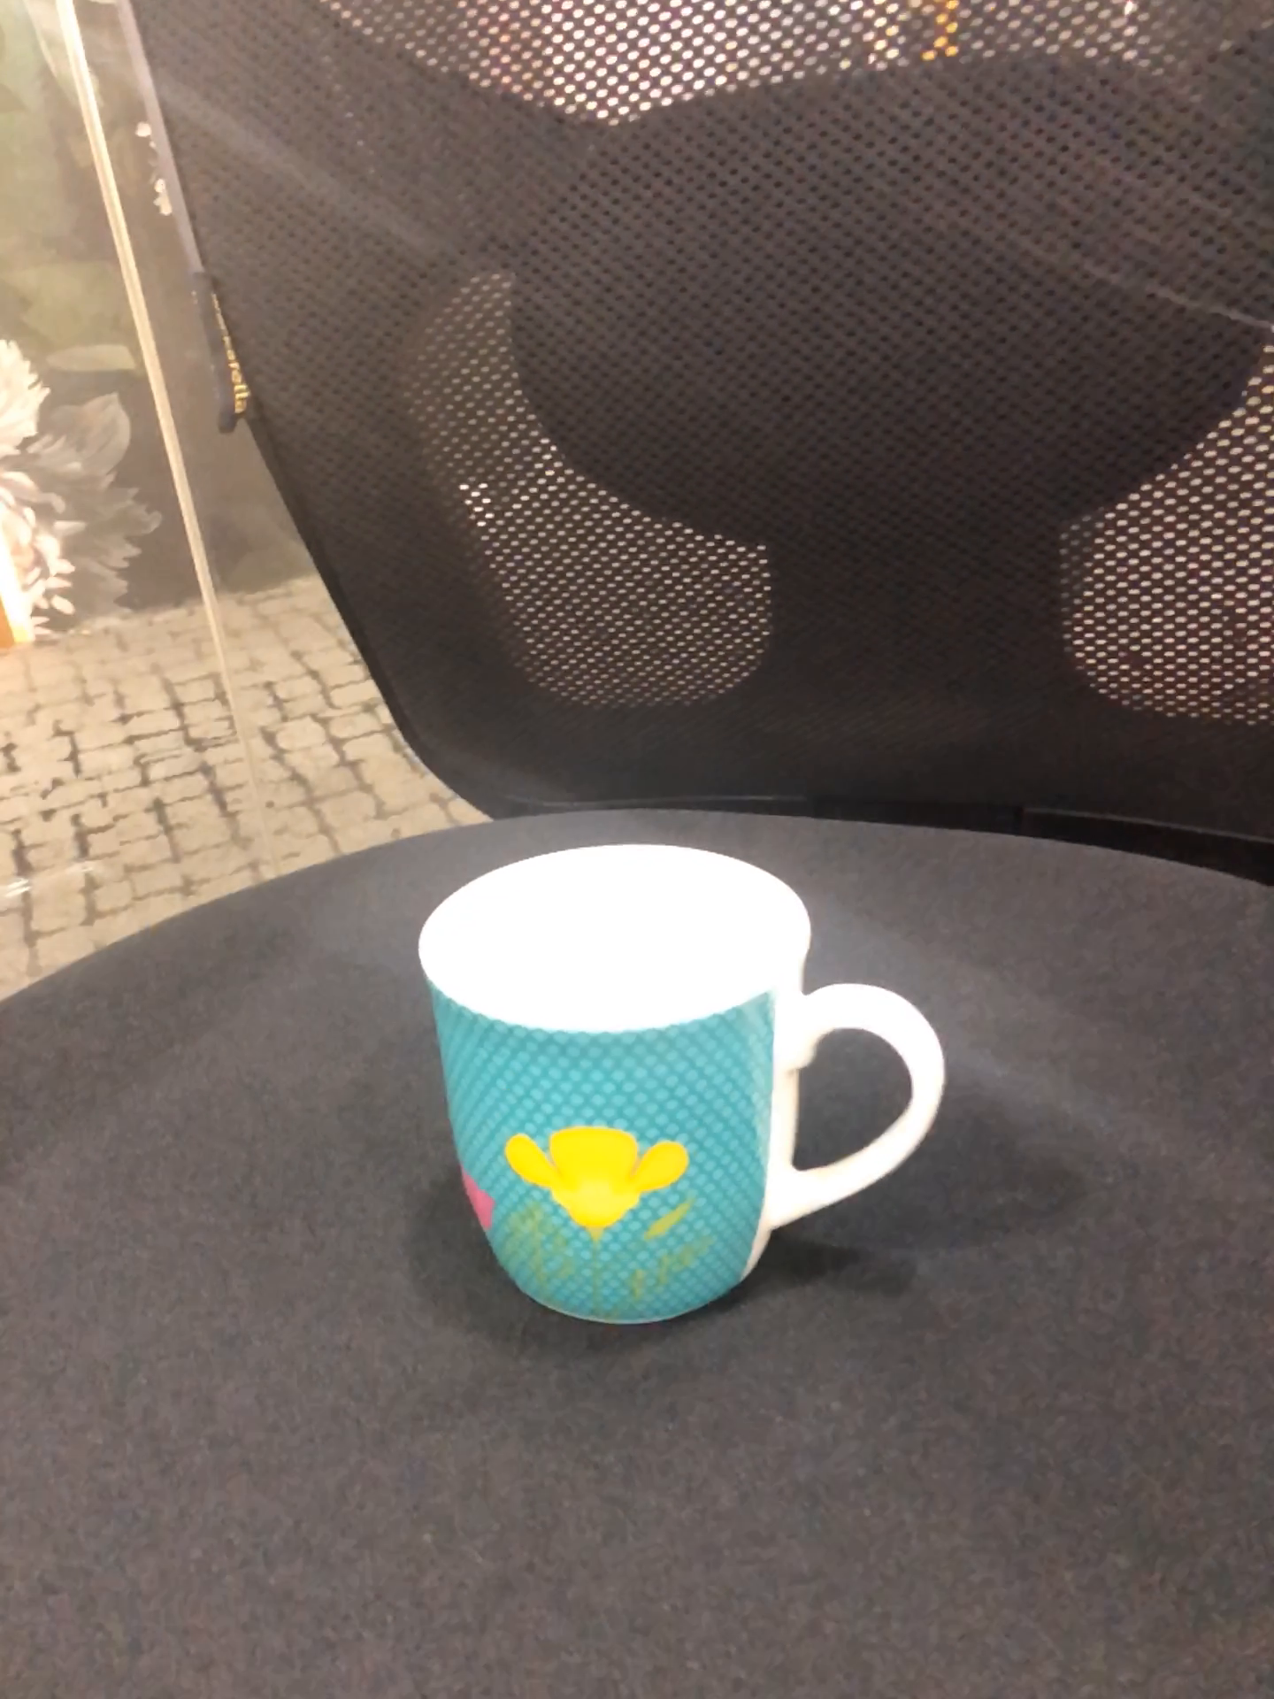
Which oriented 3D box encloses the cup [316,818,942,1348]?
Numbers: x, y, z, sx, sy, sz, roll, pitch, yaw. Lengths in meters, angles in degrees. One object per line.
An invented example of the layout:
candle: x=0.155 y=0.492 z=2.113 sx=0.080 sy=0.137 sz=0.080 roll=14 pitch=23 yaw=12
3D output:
cup: x=0.004 y=0.046 z=0.293 sx=0.110 sy=0.080 sz=0.070 roll=-1 pitch=29 yaw=8
